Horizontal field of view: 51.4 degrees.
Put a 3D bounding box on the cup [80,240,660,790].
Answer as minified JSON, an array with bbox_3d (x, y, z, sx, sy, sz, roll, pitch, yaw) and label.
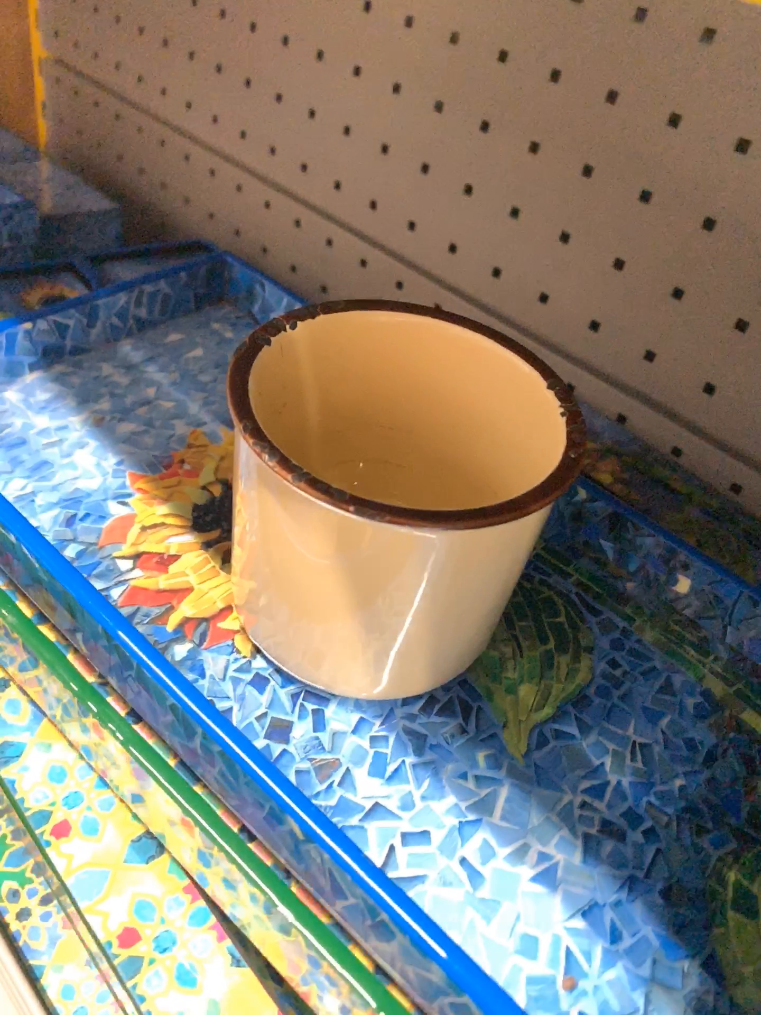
[{"bbox_3d":[-0.008,-0.009,0.212,0.090,0.070,0.110,-27,55,-38],"label":"cup"}]
